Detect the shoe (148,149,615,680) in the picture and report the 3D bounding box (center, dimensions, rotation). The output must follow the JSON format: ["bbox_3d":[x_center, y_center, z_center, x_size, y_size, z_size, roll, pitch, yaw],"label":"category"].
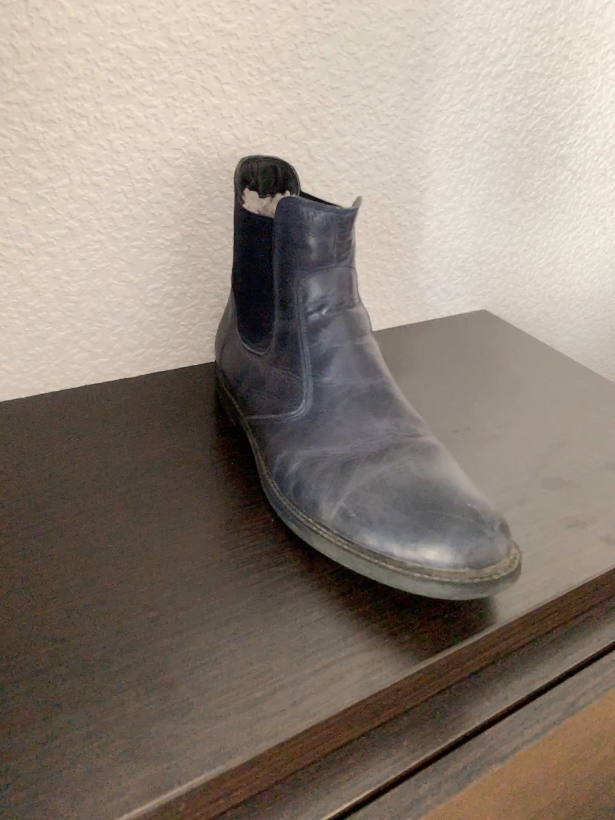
[{"bbox_3d":[0.011,-0.035,0.368,0.110,0.159,0.301,-13,37,-27],"label":"shoe"}]
